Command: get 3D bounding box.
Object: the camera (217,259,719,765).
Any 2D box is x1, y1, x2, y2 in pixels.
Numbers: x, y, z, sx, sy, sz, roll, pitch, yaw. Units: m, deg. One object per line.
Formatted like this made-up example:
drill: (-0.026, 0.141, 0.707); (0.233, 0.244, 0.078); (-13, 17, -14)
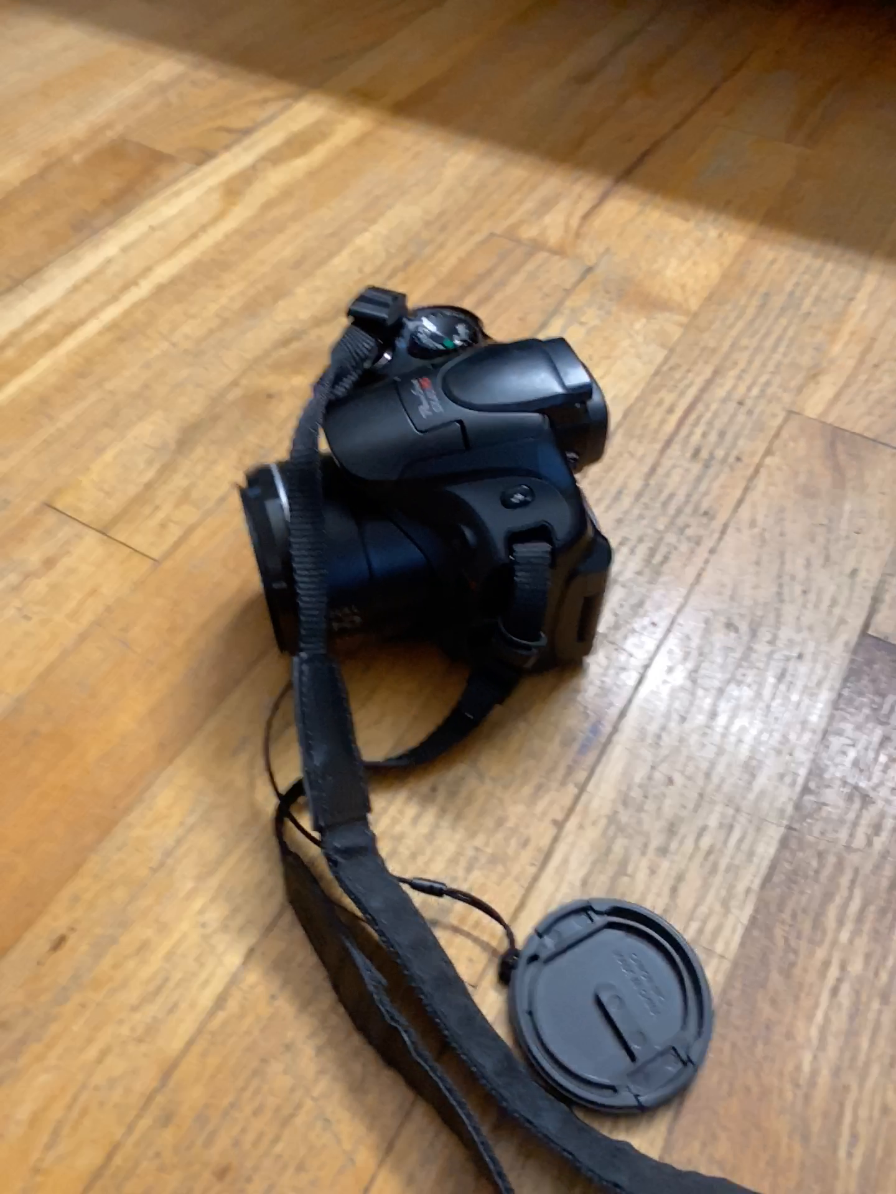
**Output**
camera: (-0.002, -0.031, 0.309); (0.120, 0.090, 0.121); (-11, 53, -10)
